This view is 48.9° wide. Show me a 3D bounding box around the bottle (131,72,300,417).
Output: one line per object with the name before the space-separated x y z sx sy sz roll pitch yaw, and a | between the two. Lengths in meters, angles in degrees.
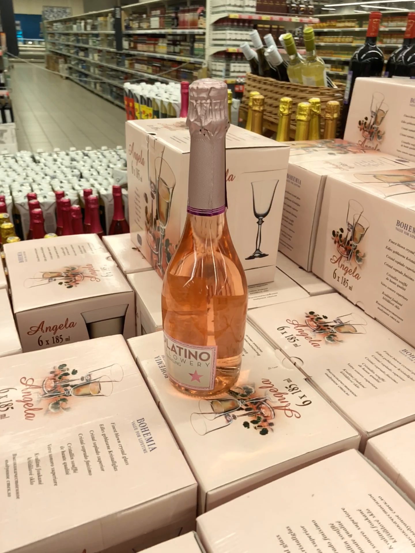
bottle | 0.002 -0.030 0.451 0.100 0.308 0.100 2 26 -1
